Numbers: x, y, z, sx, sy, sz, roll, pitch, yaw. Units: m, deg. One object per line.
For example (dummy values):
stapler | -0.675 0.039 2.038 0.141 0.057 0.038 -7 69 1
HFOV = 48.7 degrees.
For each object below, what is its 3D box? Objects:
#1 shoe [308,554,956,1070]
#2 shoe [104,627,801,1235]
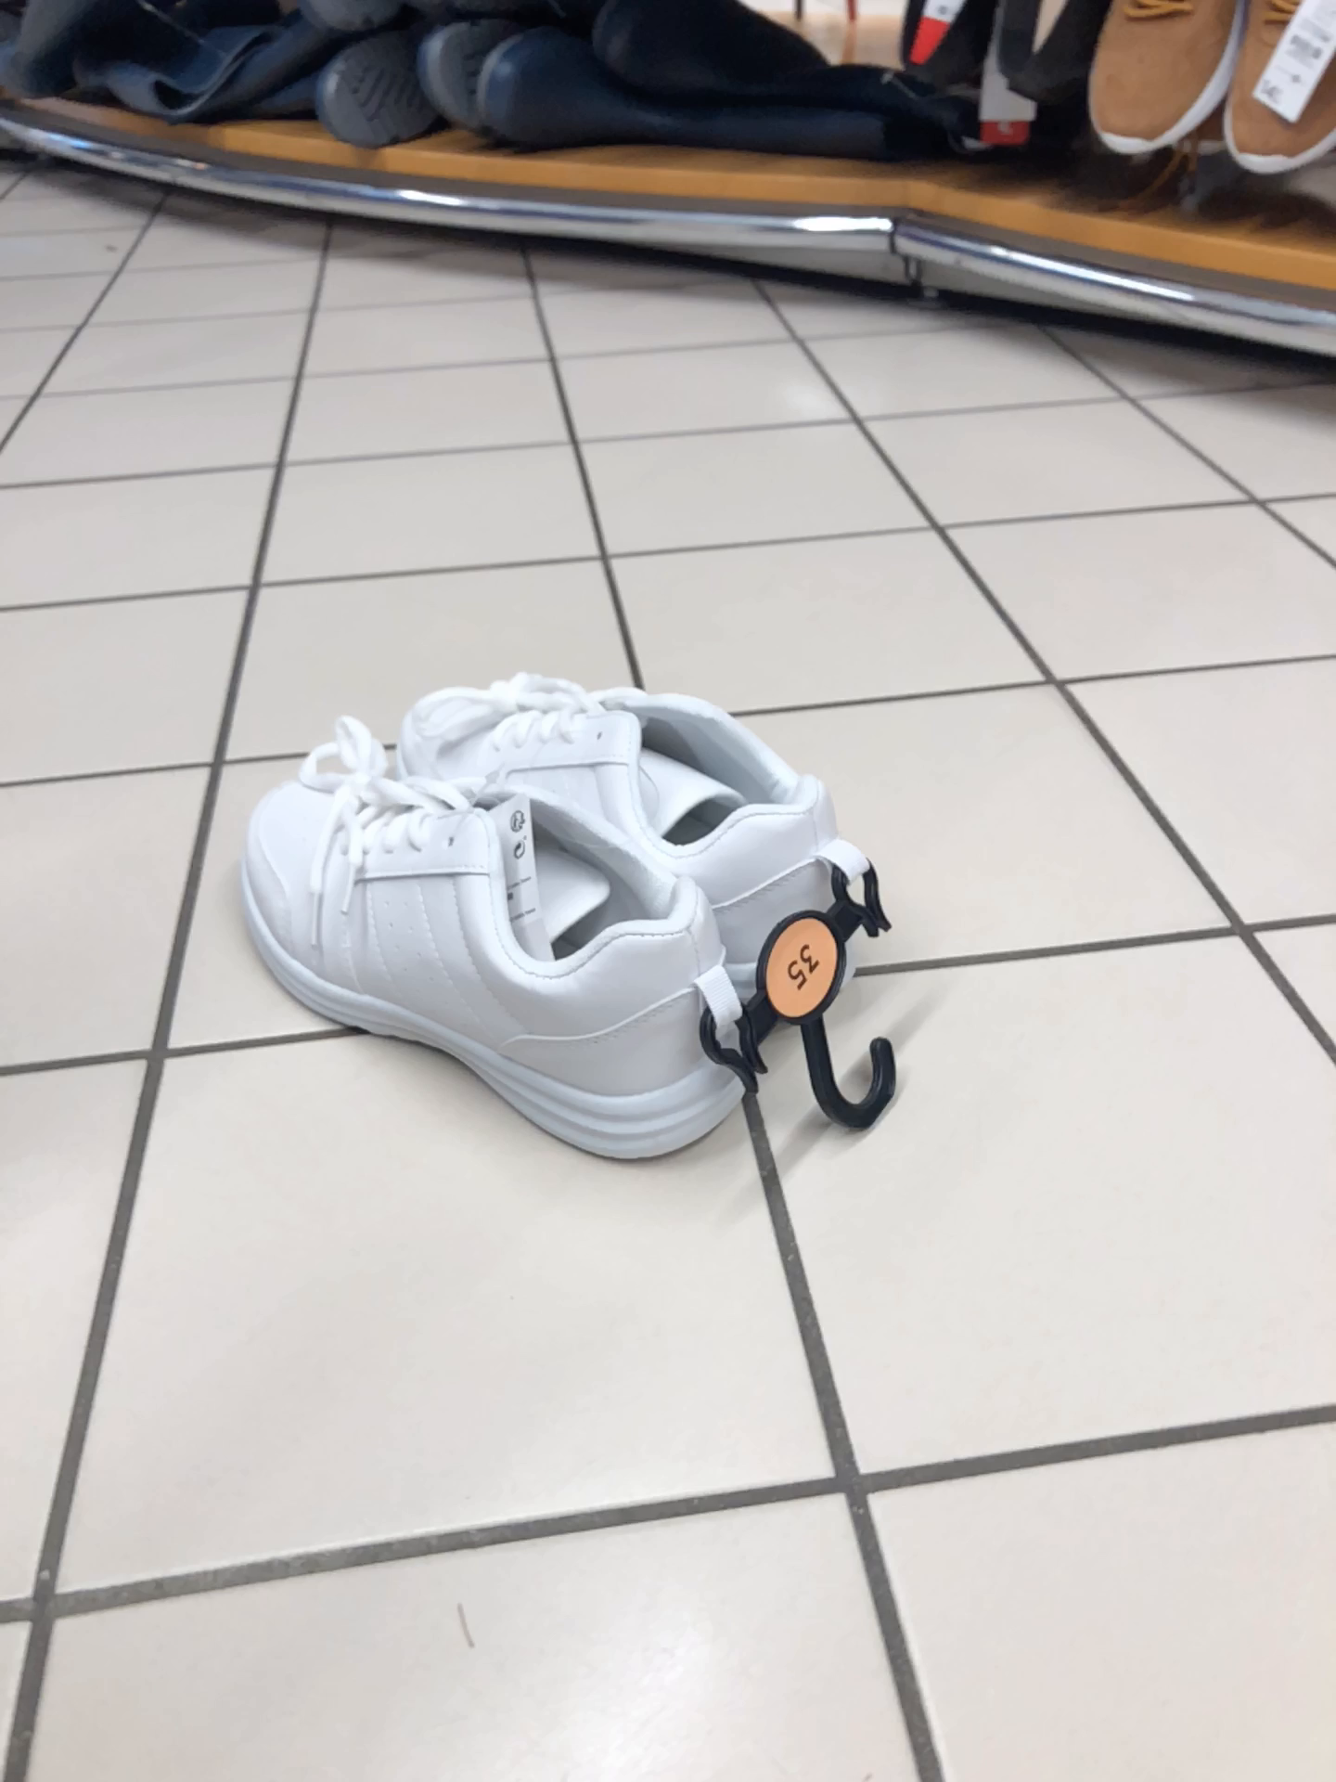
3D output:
shoe | -0.021 -0.042 0.562 0.240 0.089 0.090 27 45 34
shoe | -0.078 -0.001 0.503 0.240 0.089 0.090 27 45 34
